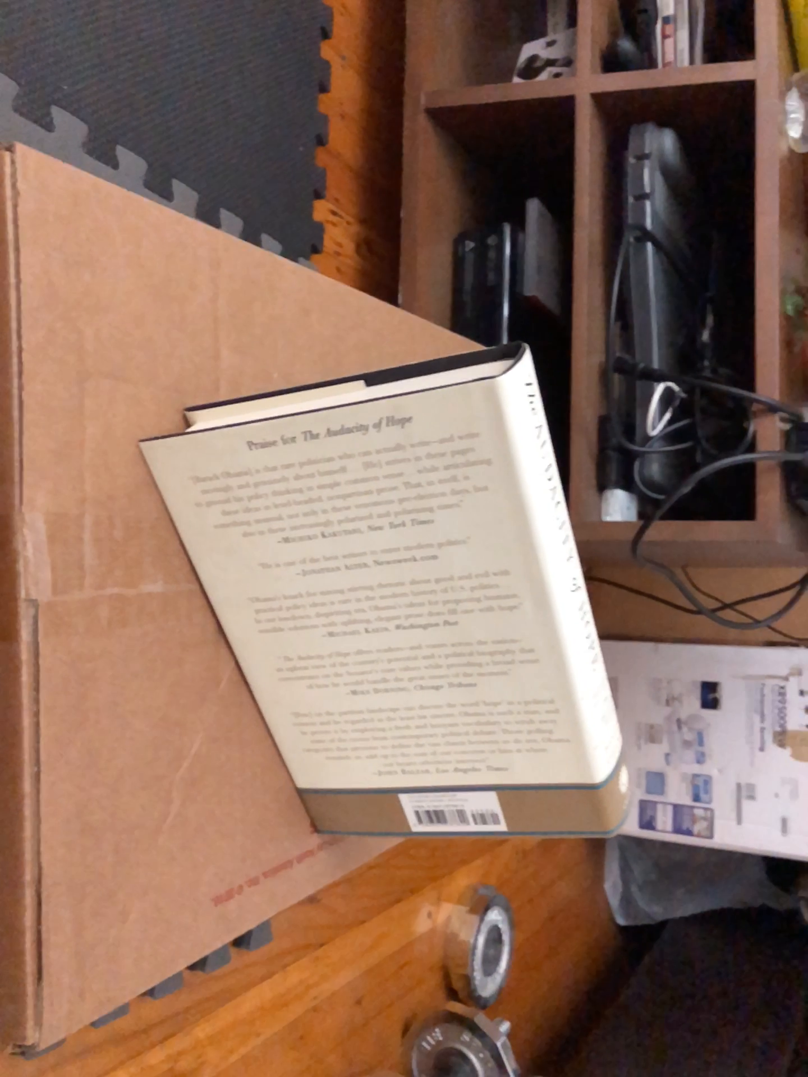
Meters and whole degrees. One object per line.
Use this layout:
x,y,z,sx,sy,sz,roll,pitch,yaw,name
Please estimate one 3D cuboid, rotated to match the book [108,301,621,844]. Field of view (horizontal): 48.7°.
-0.003,0.033,0.425,0.060,0.169,0.250,-65,144,-55,book
